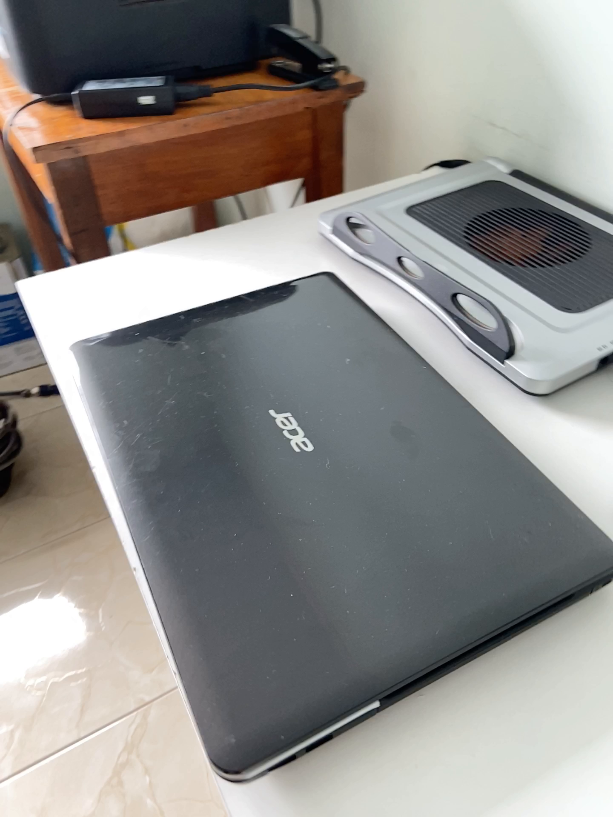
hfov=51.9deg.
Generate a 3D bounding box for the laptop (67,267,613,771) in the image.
[{"bbox_3d":[-0.006,0.013,0.412,0.230,0.005,0.336,-19,46,-19],"label":"laptop"}]
